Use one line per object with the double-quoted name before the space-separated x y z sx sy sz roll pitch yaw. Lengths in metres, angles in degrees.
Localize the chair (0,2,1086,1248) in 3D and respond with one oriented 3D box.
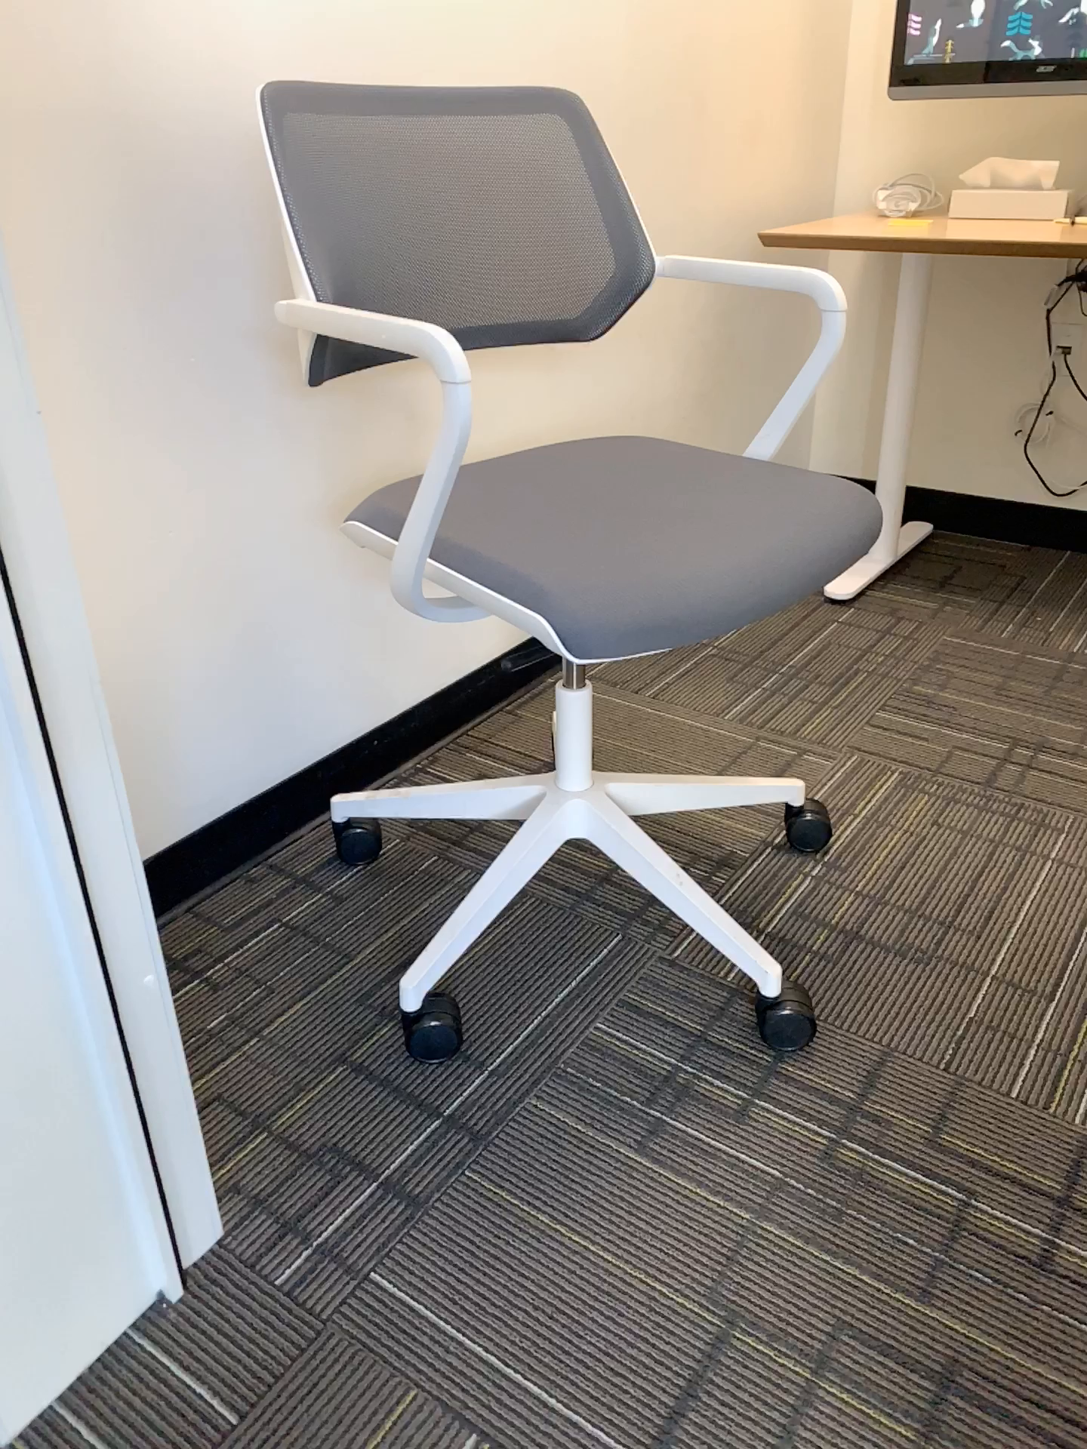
"chair" 0.047 -0.217 1.252 0.803 0.914 0.802 21 35 35
